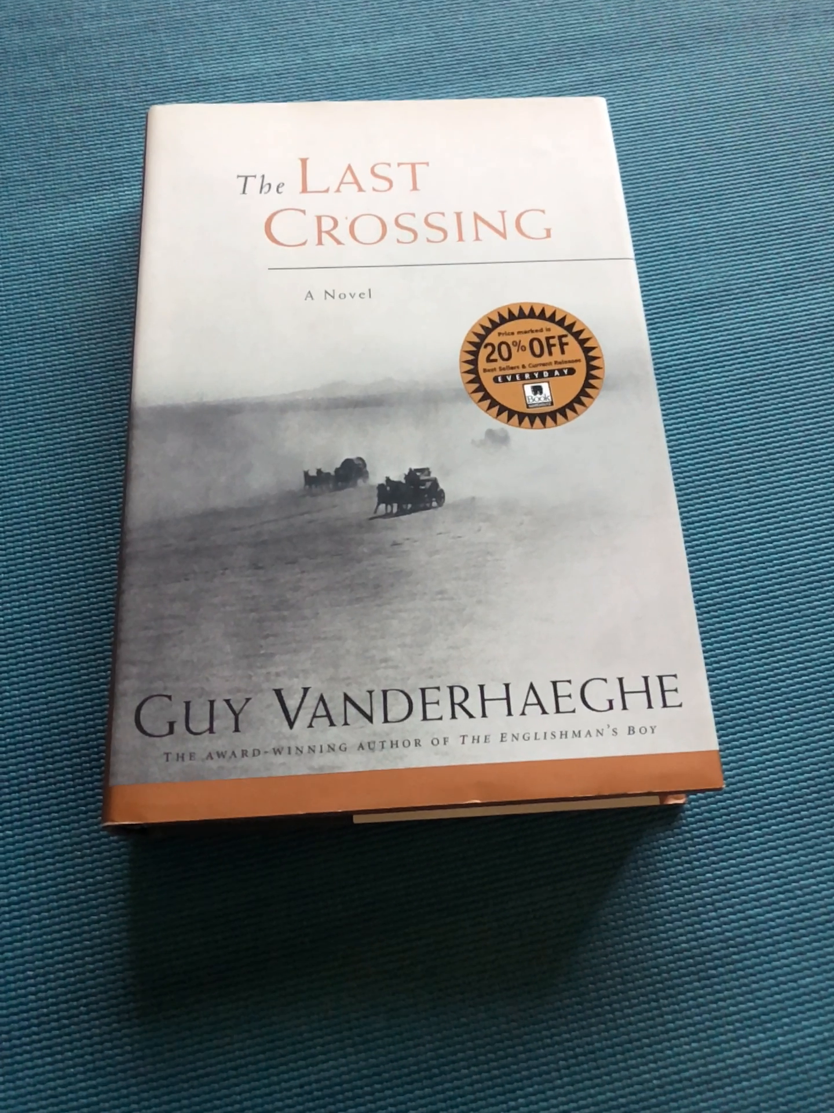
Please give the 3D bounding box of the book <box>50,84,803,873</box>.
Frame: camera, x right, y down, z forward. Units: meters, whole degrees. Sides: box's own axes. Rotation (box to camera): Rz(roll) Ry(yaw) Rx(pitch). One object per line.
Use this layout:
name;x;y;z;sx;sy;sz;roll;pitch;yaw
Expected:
book;-0.004;-0.036;0.269;0.170;0.040;0.231;-3;68;-4
